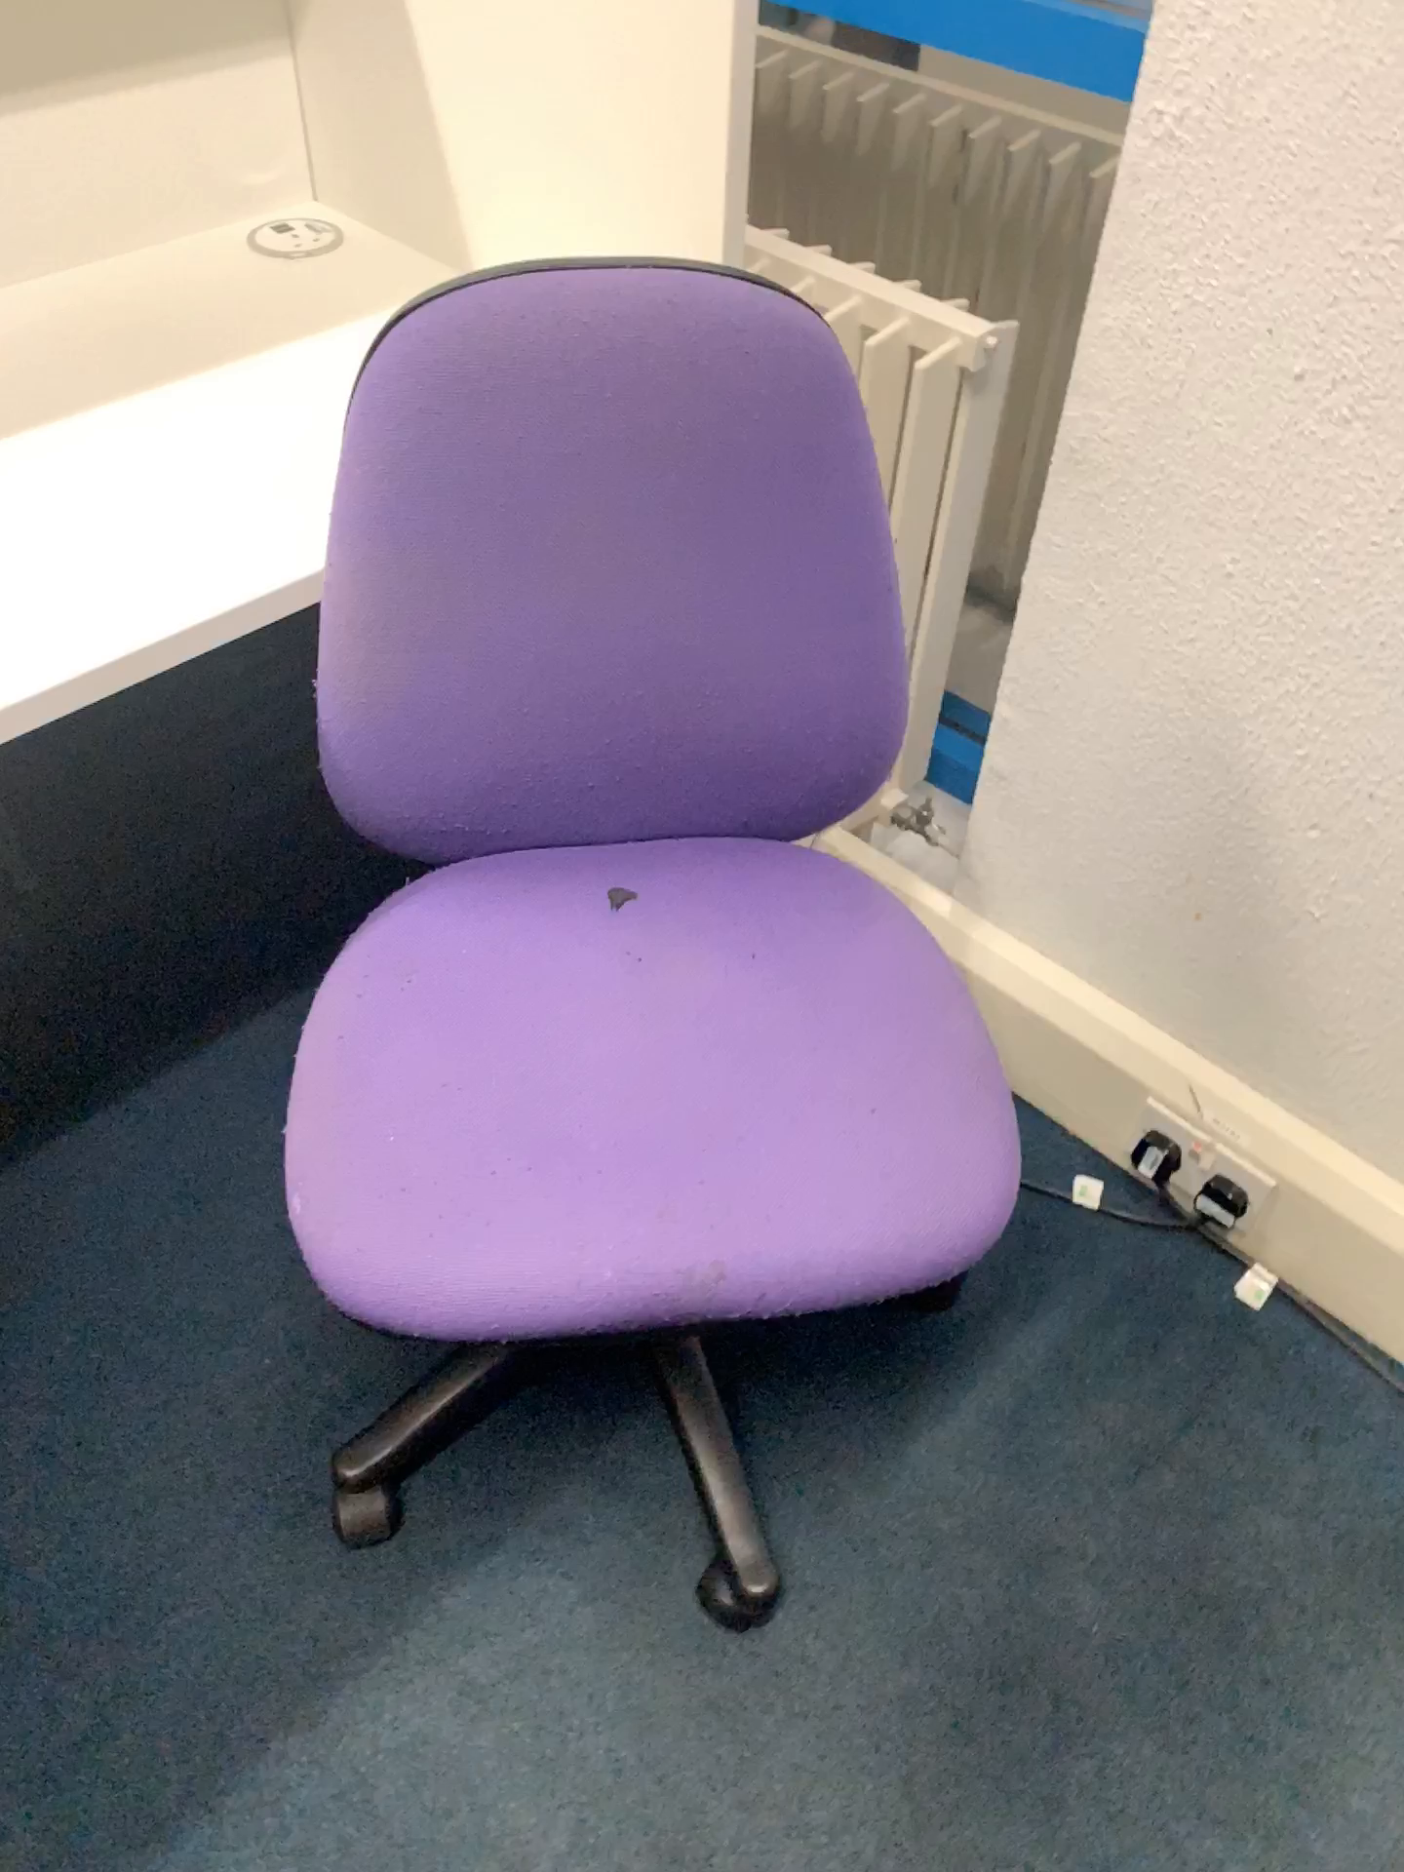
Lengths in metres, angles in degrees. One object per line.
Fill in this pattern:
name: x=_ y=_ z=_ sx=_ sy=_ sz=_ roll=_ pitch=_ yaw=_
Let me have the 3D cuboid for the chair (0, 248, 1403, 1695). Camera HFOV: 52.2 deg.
chair: x=-0.030 y=0.047 z=1.098 sx=0.690 sy=0.862 sz=0.656 roll=-3 pitch=45 yaw=-6
